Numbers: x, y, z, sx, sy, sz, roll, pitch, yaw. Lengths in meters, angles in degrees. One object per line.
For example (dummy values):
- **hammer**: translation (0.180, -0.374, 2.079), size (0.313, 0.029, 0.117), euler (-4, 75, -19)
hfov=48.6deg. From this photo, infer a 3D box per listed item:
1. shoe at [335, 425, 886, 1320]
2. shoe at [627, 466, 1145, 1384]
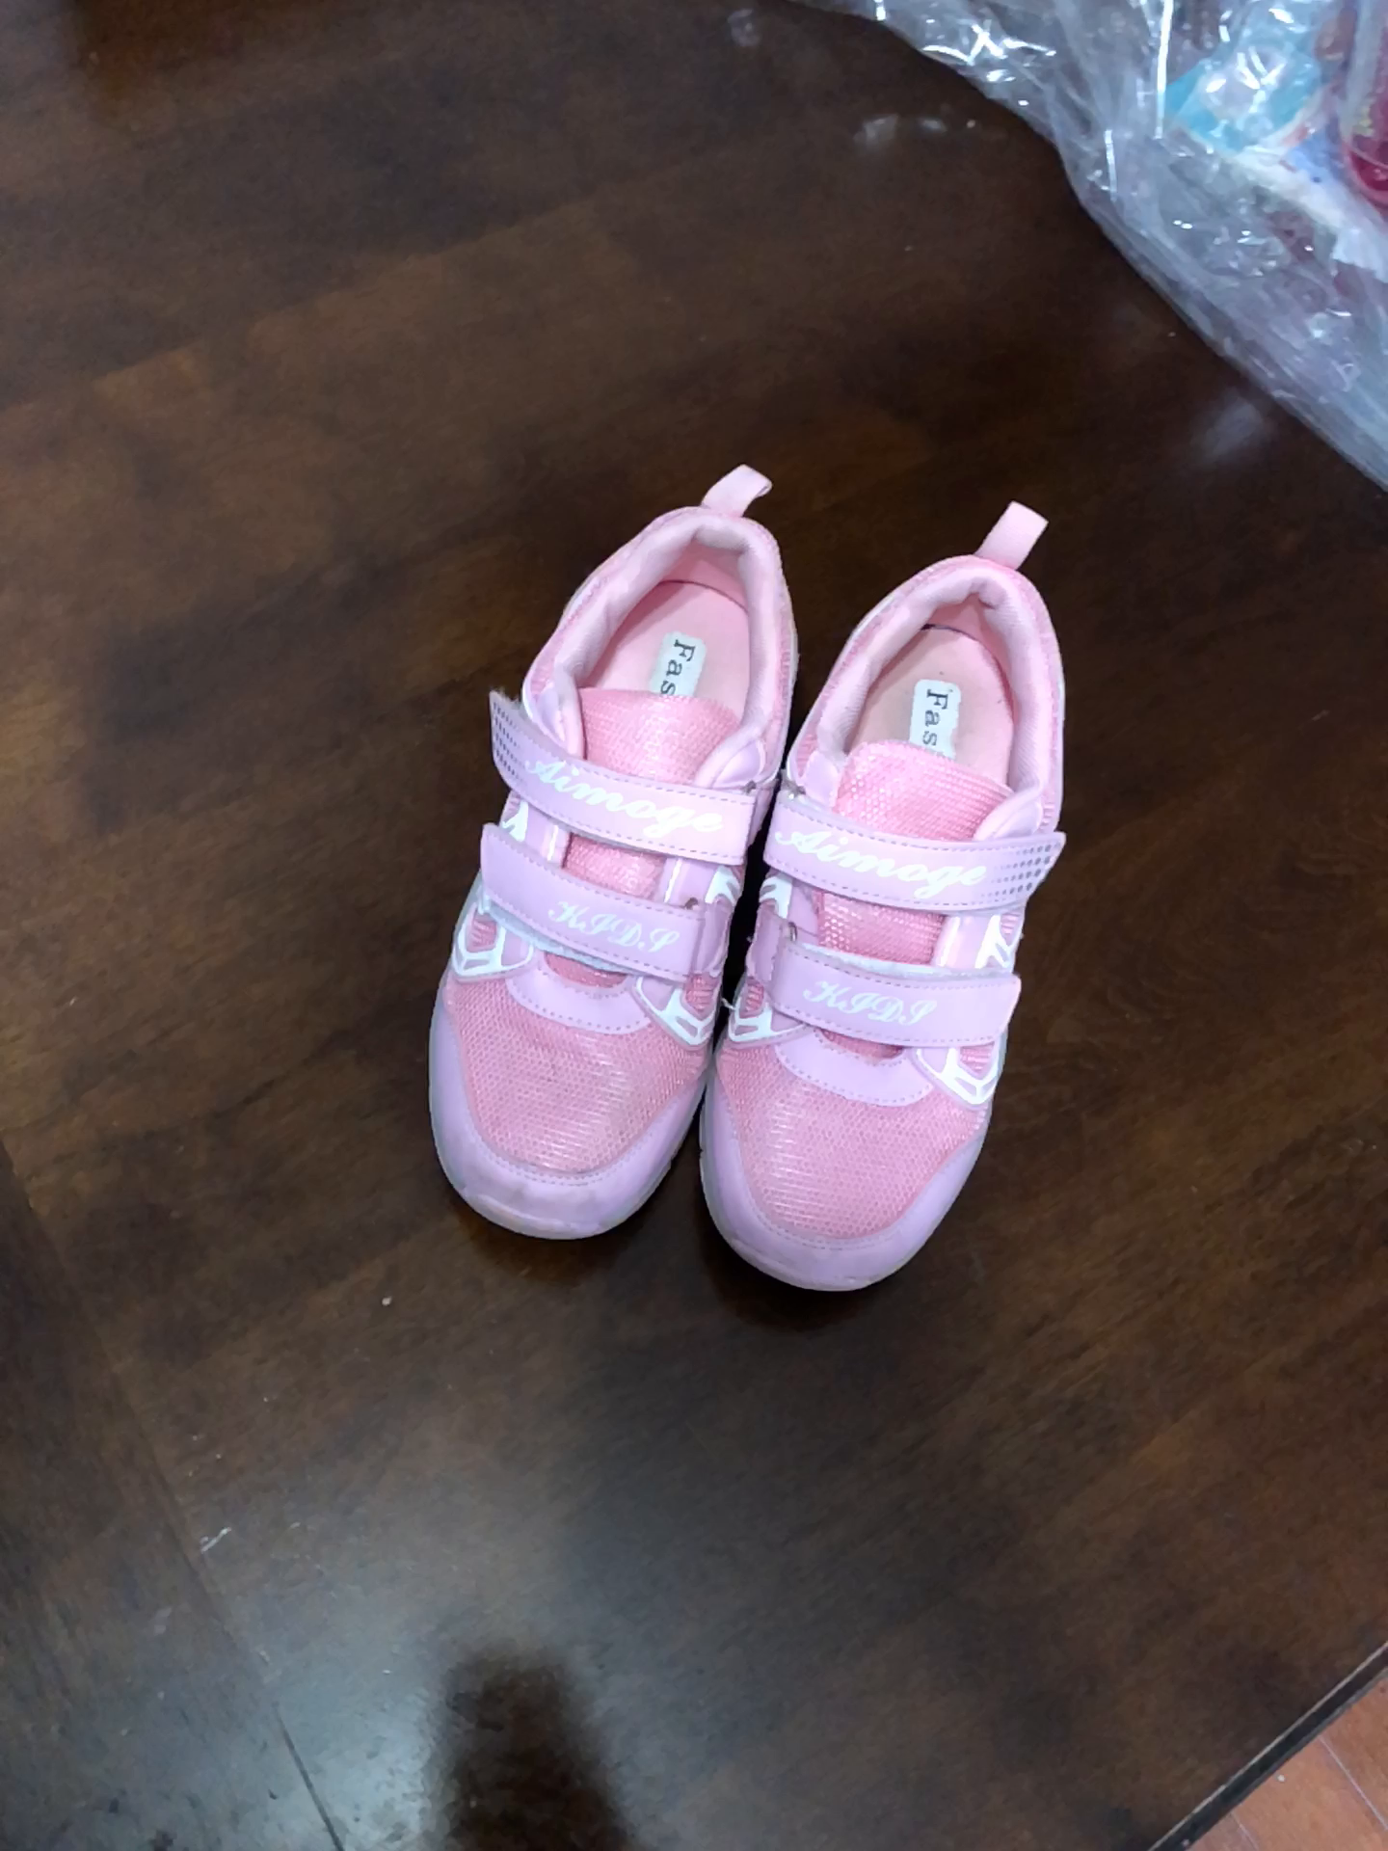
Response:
- **shoe**: translation (-0.019, -0.019, 0.496), size (0.100, 0.110, 0.250), euler (14, 64, 1)
- **shoe**: translation (0.064, -0.003, 0.502), size (0.110, 0.110, 0.260), euler (13, 64, 1)
